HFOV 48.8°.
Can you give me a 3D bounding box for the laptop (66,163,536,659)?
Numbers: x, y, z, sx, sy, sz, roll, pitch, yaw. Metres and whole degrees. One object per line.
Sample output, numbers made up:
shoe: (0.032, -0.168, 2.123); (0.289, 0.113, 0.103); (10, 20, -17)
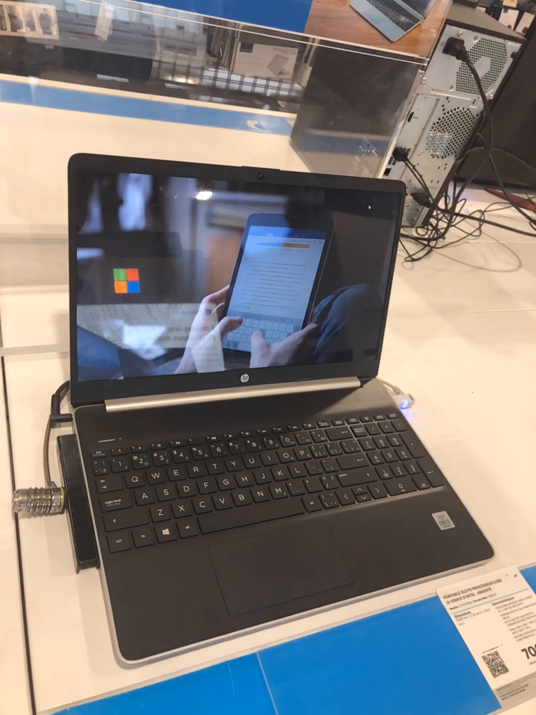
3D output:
laptop: (0.025, 0.010, 0.530); (0.346, 0.196, 0.334); (-4, 45, -26)
